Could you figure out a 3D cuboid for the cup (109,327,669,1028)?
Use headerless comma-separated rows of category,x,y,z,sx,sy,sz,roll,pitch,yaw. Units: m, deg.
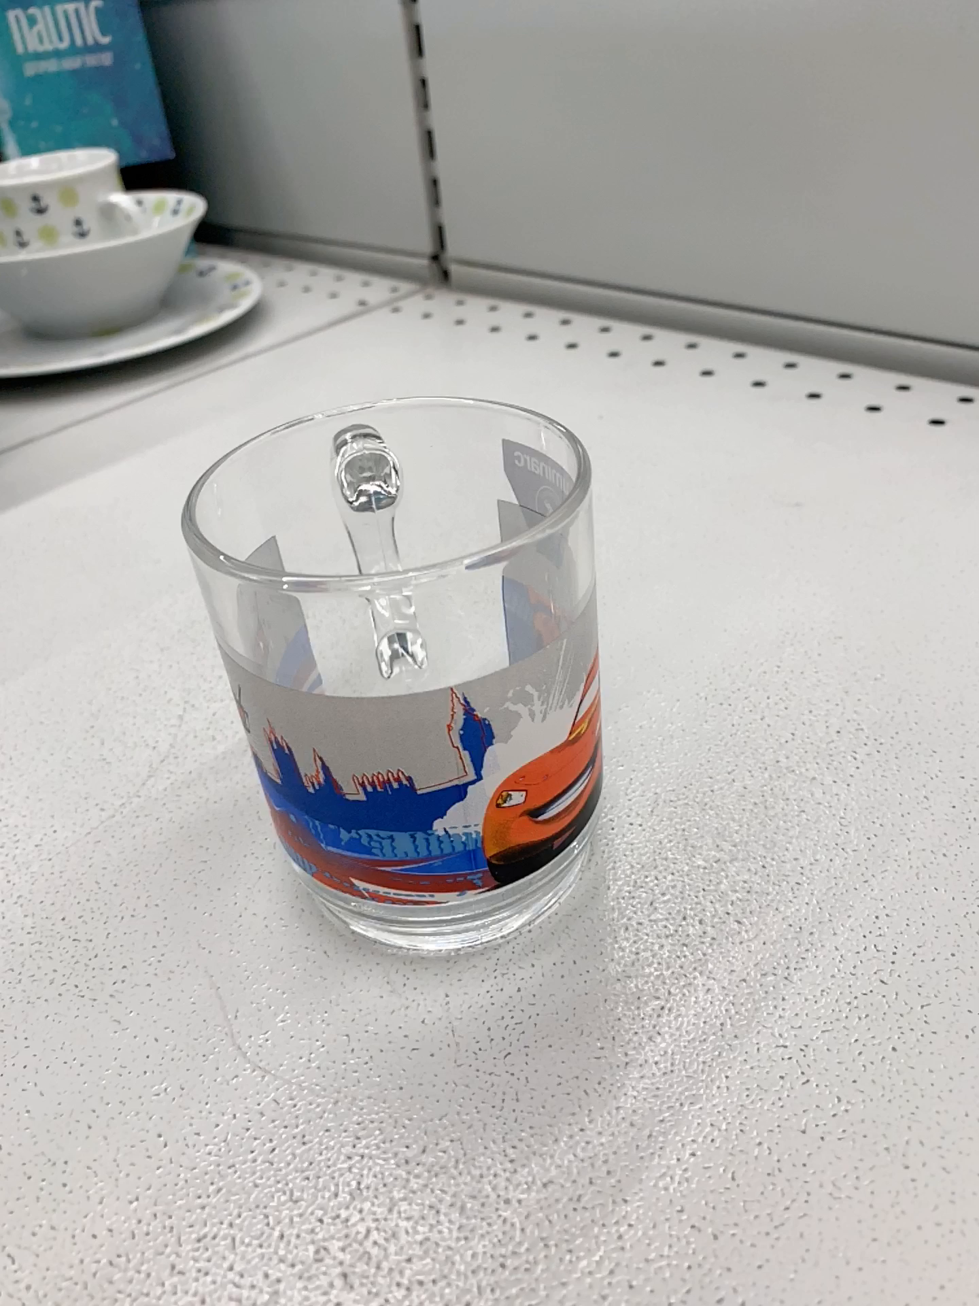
cup,-0.013,-0.002,0.195,0.072,0.081,0.102,-7,35,-1
